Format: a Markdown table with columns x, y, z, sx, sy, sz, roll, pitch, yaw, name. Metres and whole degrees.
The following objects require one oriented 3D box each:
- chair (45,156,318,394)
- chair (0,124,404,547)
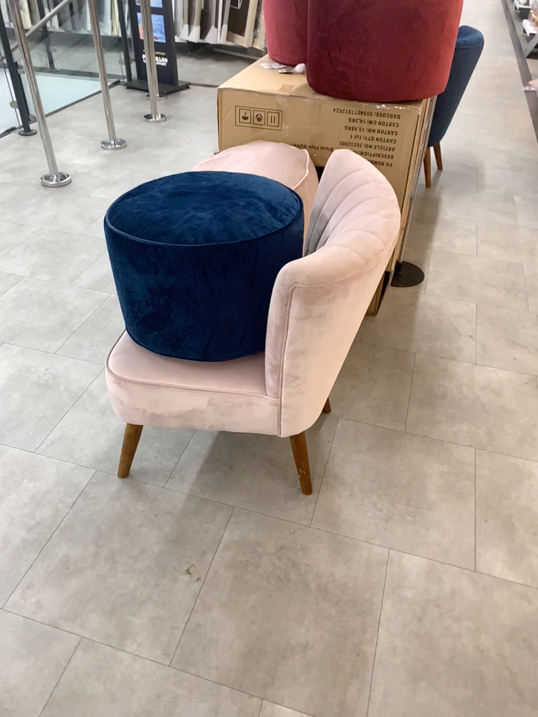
| x | y | z | sx | sy | sz | roll | pitch | yaw | name |
| --- | --- | --- | --- | --- | --- | --- | --- | --- | --- |
| -0.179 | -0.247 | 1.418 | 0.493 | 0.340 | 0.499 | 11 | 40 | 12 | chair |
| -0.101 | -0.100 | 1.488 | 0.731 | 0.772 | 0.696 | 11 | 40 | 12 | chair |
